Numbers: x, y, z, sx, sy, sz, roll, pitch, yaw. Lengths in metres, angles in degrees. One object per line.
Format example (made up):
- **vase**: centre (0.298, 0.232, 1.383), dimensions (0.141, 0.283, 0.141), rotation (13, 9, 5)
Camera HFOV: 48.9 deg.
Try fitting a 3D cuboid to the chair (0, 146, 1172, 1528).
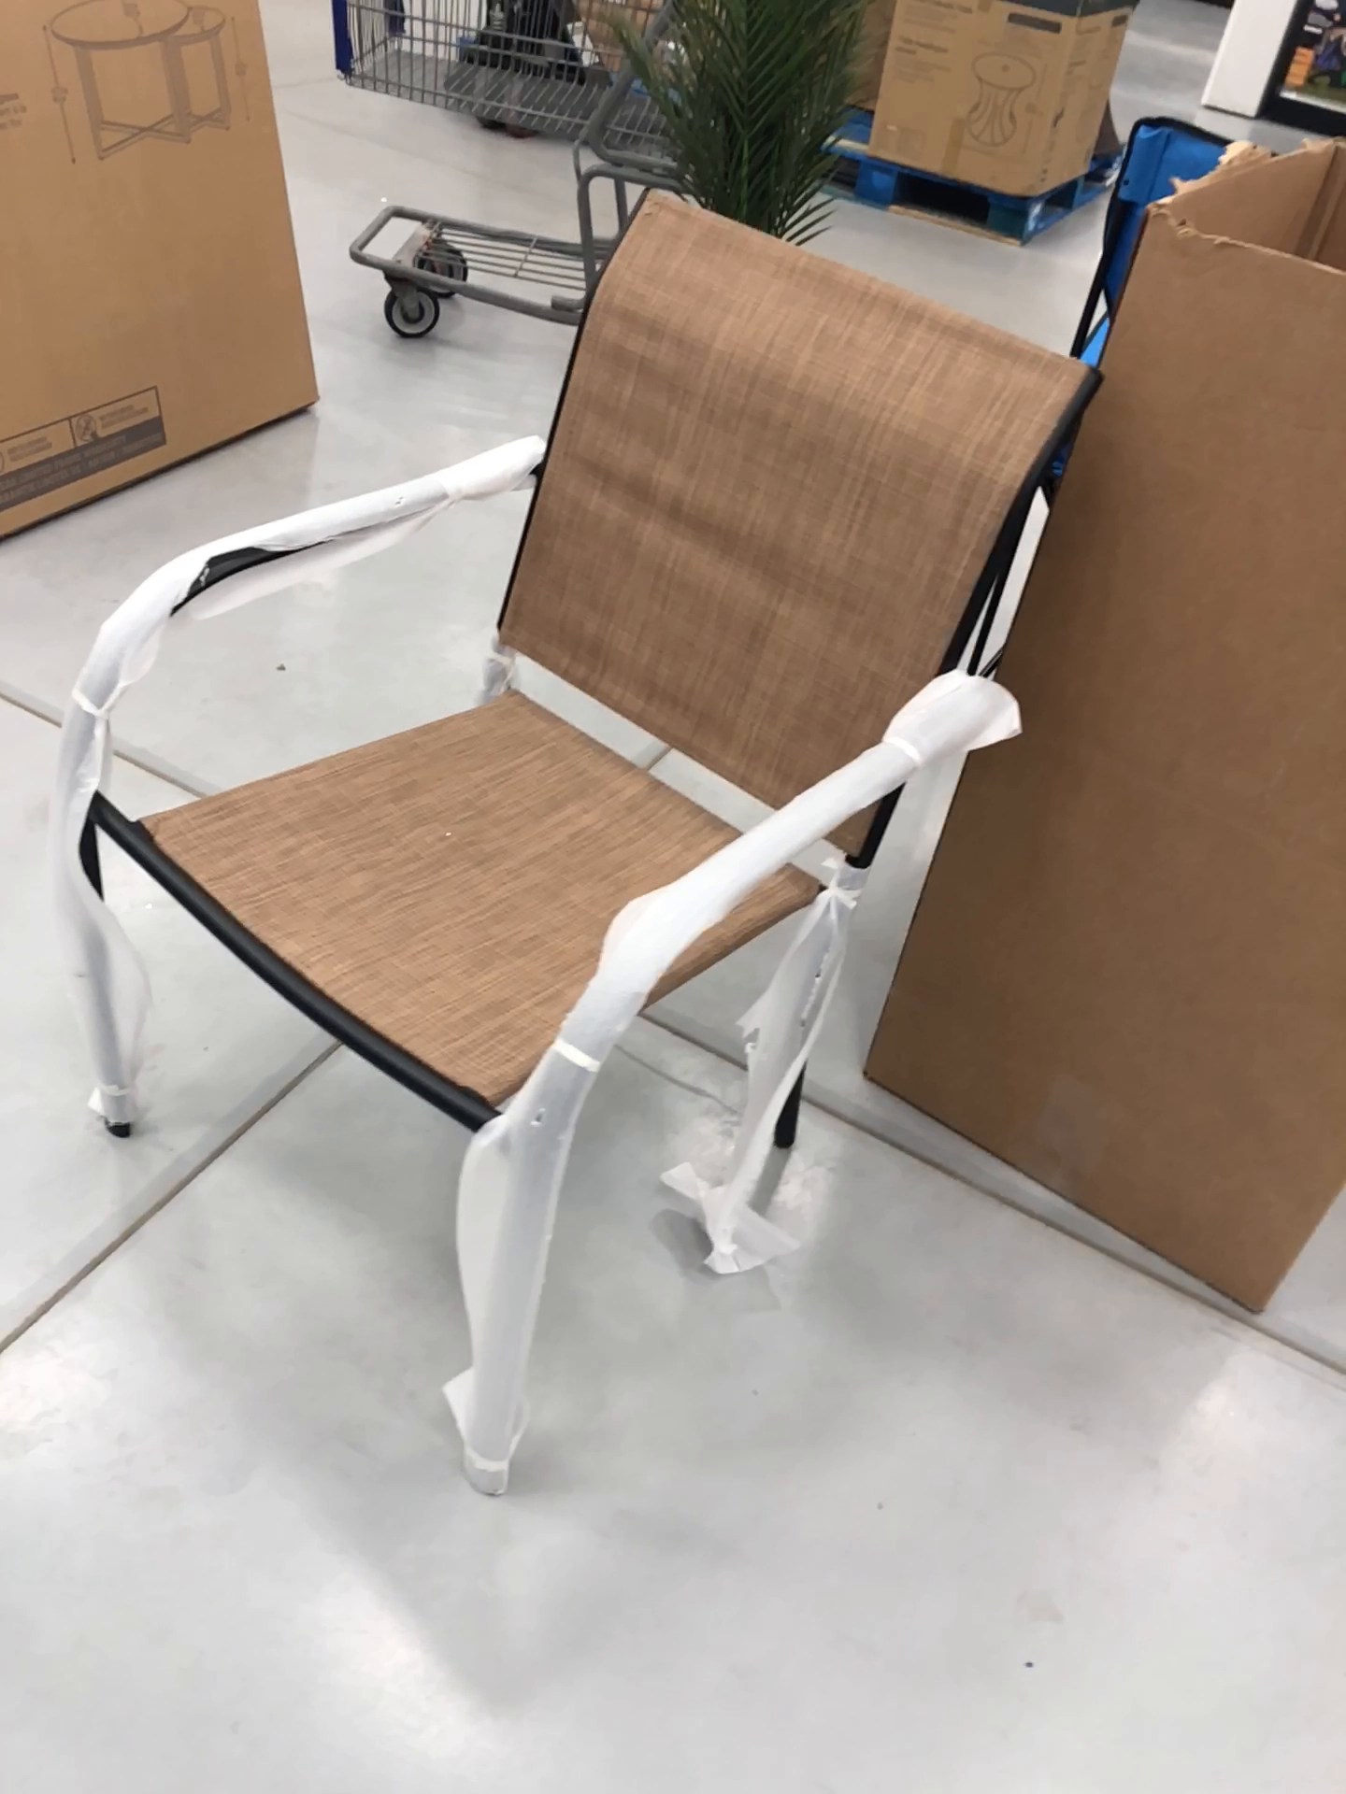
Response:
- **chair**: centre (-0.122, -0.085, 1.320), dimensions (0.621, 0.876, 0.632), rotation (33, 44, 26)
